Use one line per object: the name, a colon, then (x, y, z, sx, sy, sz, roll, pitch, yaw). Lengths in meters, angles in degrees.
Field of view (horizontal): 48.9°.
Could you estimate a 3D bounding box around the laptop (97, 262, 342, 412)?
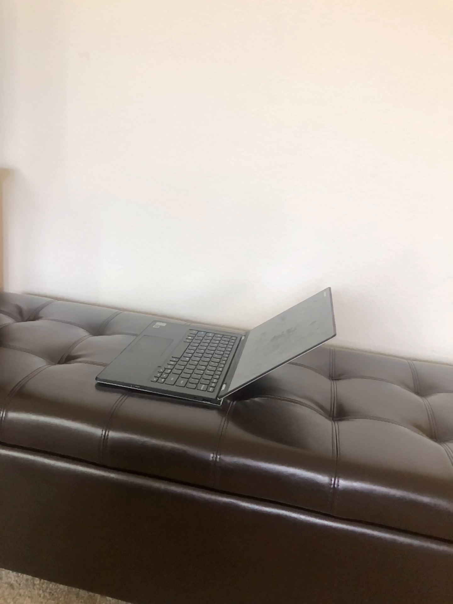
laptop: (0.003, 0.035, 0.782, 0.317, 0.115, 0.262, 7, 16, 8)
